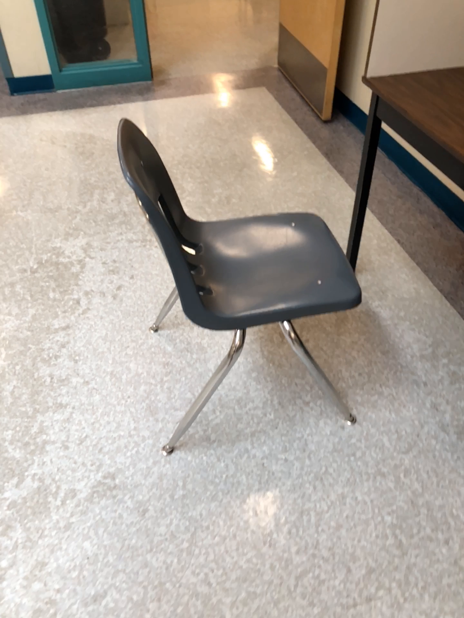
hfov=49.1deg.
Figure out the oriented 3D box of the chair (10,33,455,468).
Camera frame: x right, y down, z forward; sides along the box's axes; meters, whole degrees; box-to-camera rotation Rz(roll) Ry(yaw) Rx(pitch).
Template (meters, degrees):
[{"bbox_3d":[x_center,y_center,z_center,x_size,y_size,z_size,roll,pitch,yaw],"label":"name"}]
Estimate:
[{"bbox_3d":[-0.028,-0.134,1.140,0.610,0.695,0.594,-7,44,-6],"label":"chair"}]
